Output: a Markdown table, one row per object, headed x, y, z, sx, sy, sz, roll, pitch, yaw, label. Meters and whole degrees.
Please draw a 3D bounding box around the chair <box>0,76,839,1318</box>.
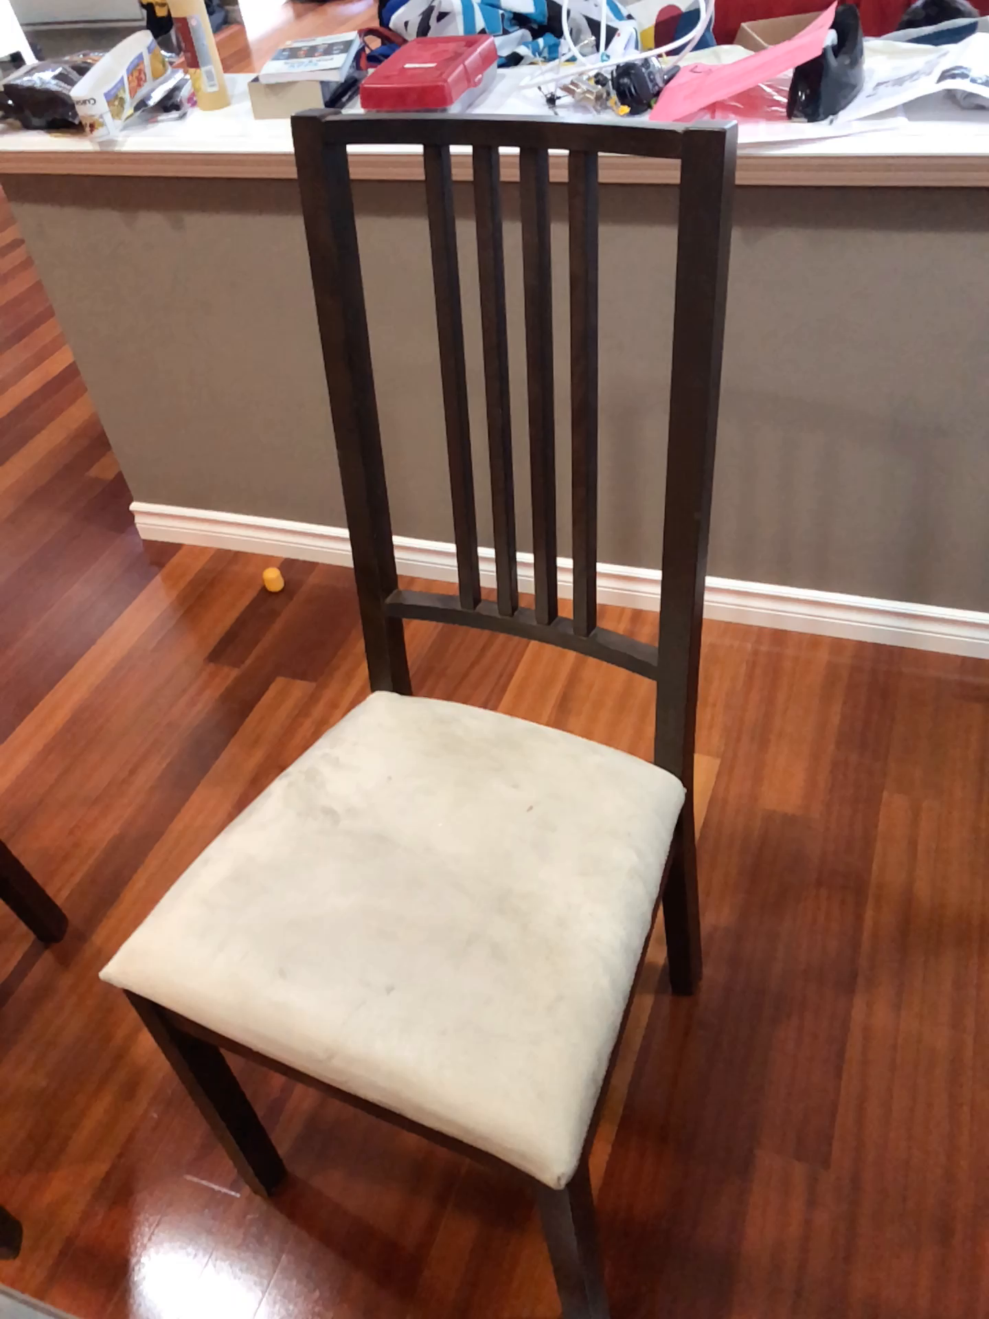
| x | y | z | sx | sy | sz | roll | pitch | yaw | label |
| --- | --- | --- | --- | --- | --- | --- | --- | --- | --- |
| -0.061 | 0.143 | 0.953 | 0.491 | 1.053 | 0.512 | 15 | 47 | 23 | chair |
